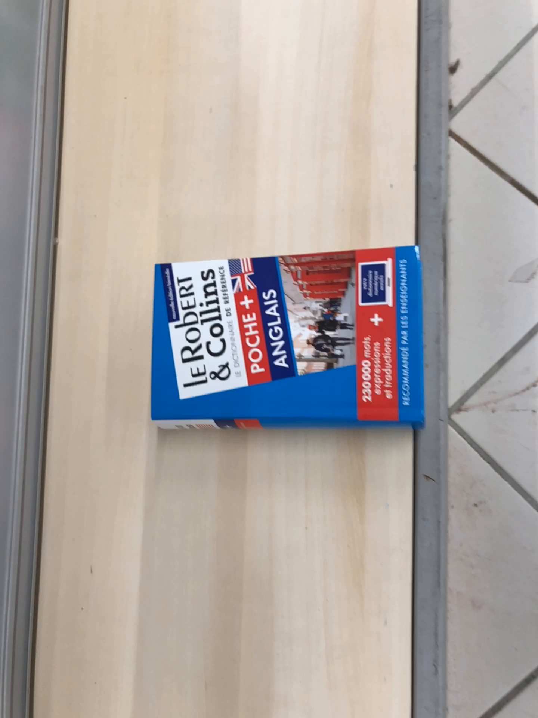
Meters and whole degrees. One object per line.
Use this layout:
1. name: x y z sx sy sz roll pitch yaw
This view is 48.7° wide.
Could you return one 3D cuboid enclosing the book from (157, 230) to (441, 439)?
1. book: 0.020 -0.011 0.408 0.183 0.051 0.128 -1 83 14
